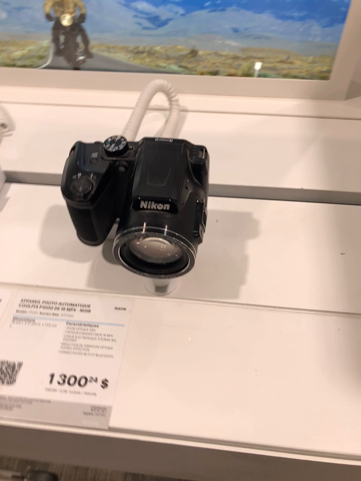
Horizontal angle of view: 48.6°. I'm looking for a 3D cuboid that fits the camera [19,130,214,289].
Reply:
[{"bbox_3d":[-0.036,-0.025,0.297,0.117,0.067,0.092,3,50,4],"label":"camera"}]
